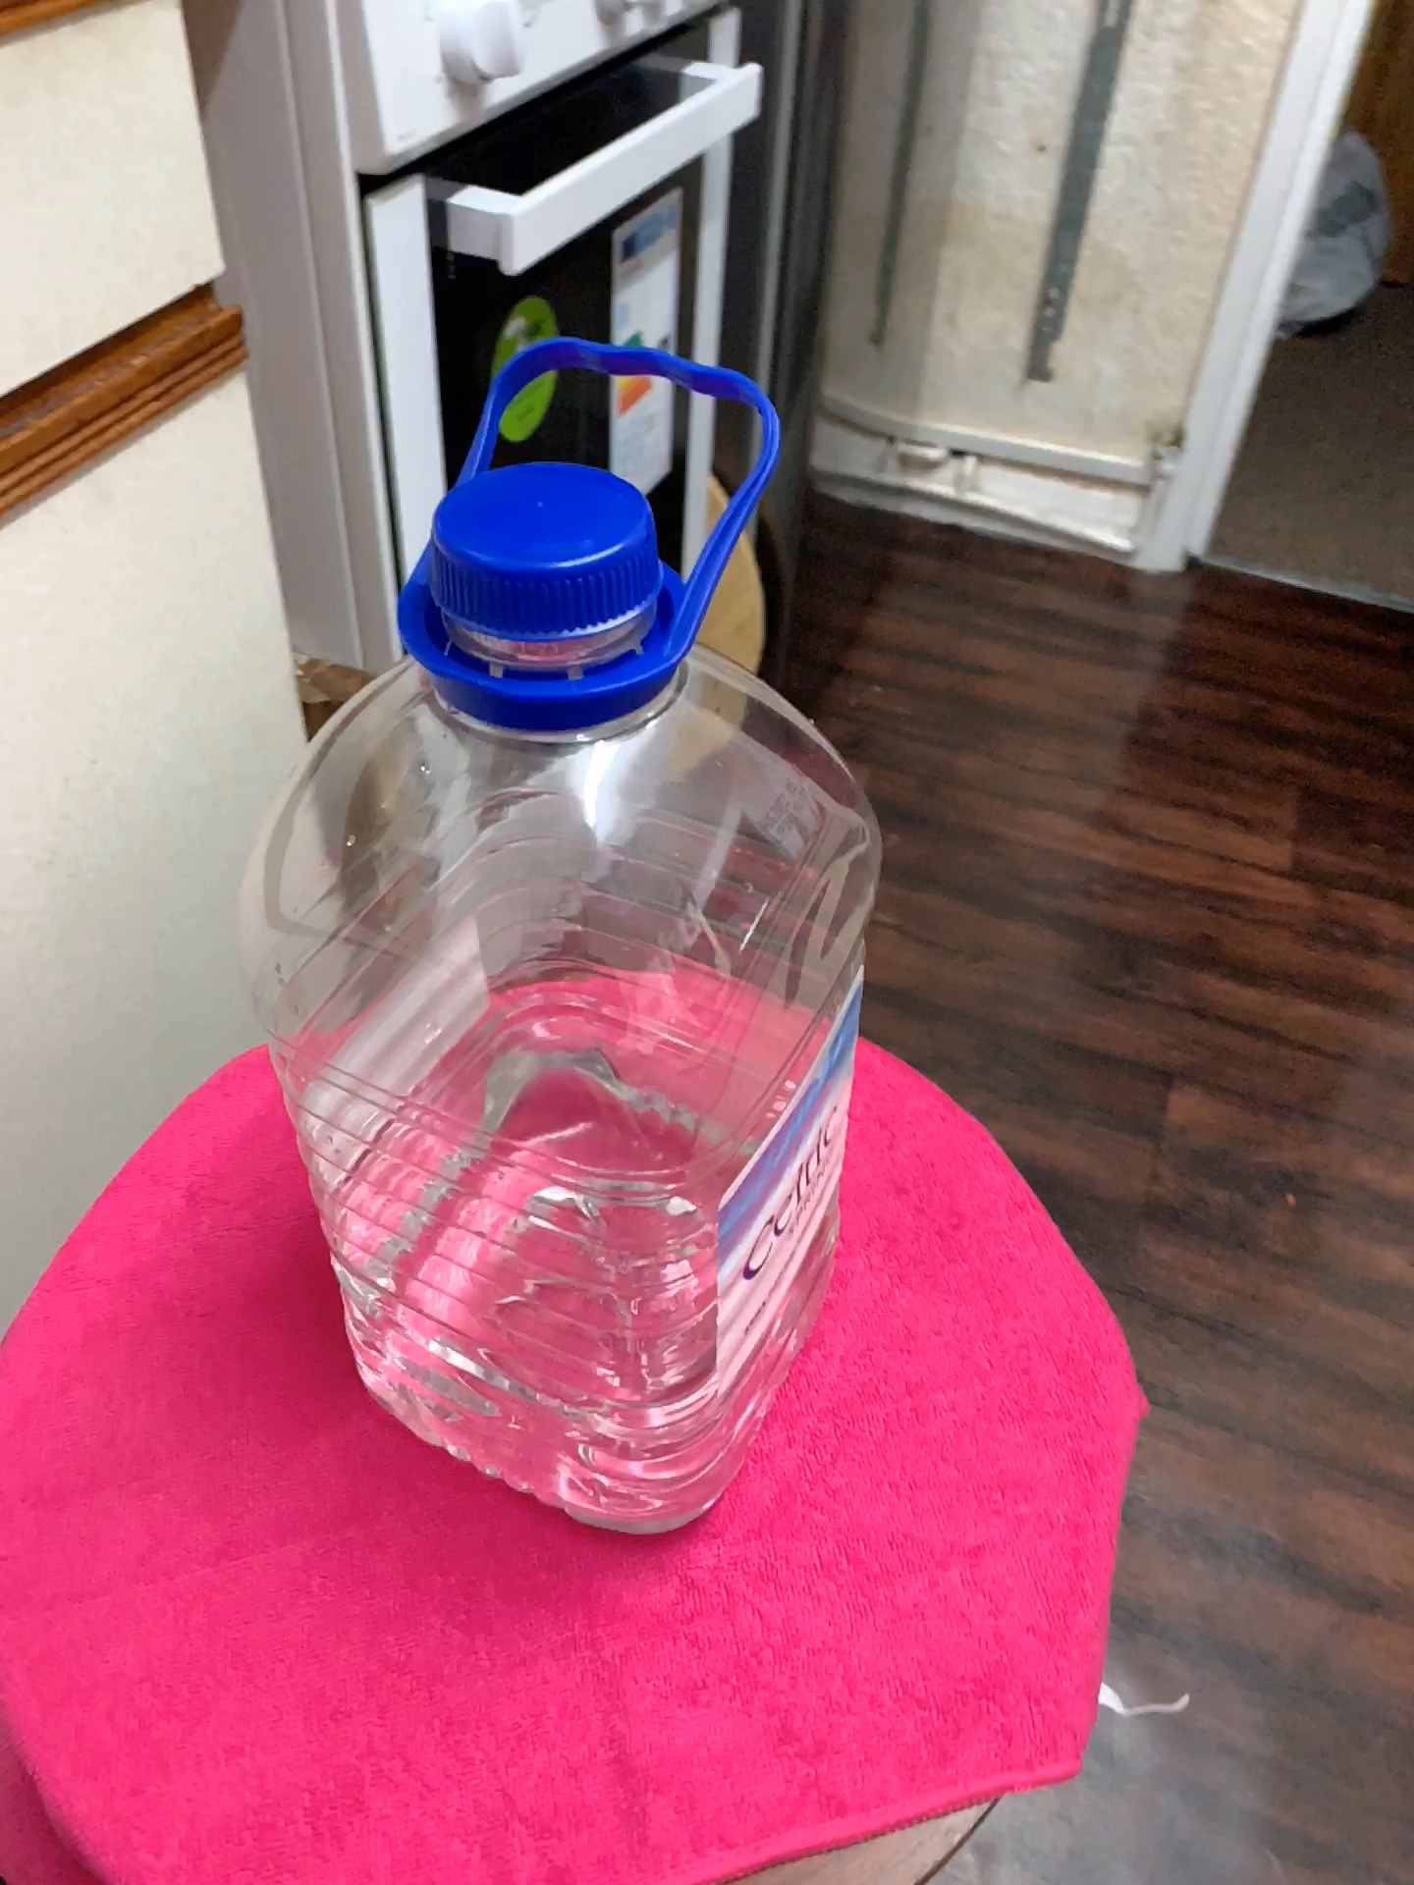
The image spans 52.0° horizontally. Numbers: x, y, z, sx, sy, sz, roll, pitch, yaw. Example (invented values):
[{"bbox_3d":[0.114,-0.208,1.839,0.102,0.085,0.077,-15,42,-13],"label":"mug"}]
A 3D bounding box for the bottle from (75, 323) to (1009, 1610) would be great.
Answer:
[{"bbox_3d":[-0.034,0.026,0.421,0.140,0.327,0.151,2,44,-2],"label":"bottle"}]
